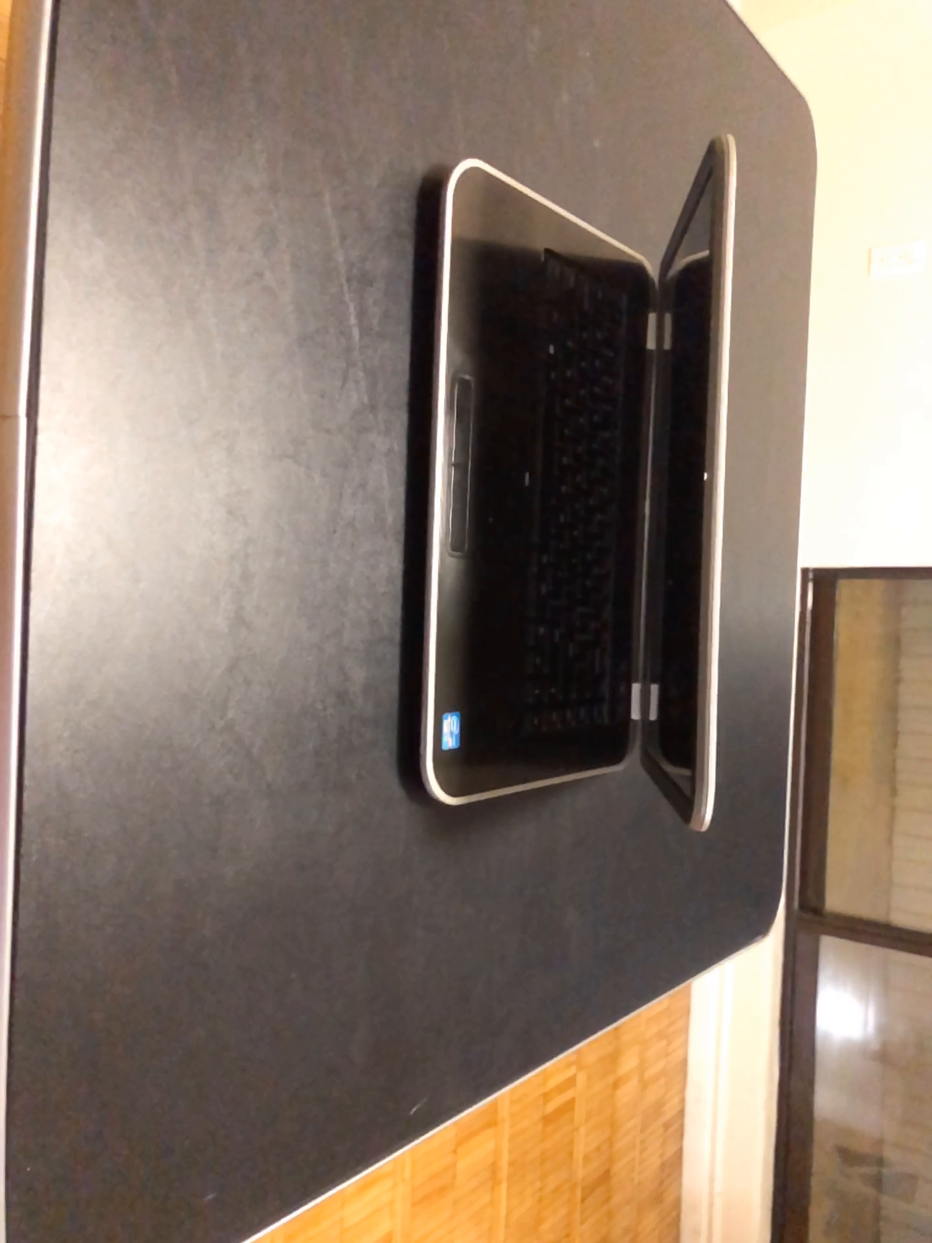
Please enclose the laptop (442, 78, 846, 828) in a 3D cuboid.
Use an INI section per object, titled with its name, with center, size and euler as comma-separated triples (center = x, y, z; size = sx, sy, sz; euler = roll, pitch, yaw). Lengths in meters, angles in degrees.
[laptop]
center = 0.119, -0.082, 0.626
size = 0.241, 0.137, 0.356
euler = -1, 93, -53
